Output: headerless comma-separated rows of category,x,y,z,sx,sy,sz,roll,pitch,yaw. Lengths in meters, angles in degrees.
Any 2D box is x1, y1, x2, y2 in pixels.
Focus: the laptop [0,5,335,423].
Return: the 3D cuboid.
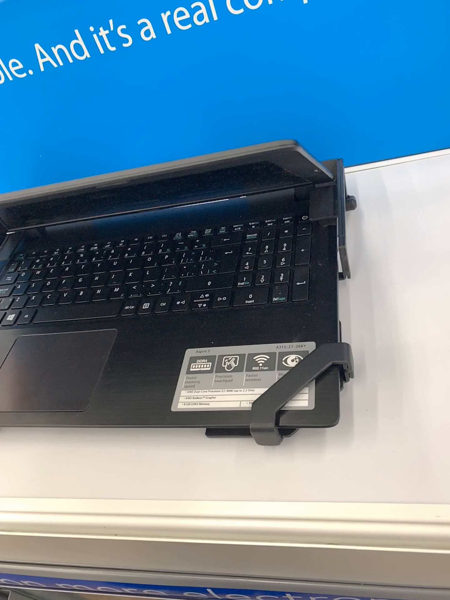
laptop,-0.112,-0.050,0.355,0.365,0.146,0.234,-5,48,18
